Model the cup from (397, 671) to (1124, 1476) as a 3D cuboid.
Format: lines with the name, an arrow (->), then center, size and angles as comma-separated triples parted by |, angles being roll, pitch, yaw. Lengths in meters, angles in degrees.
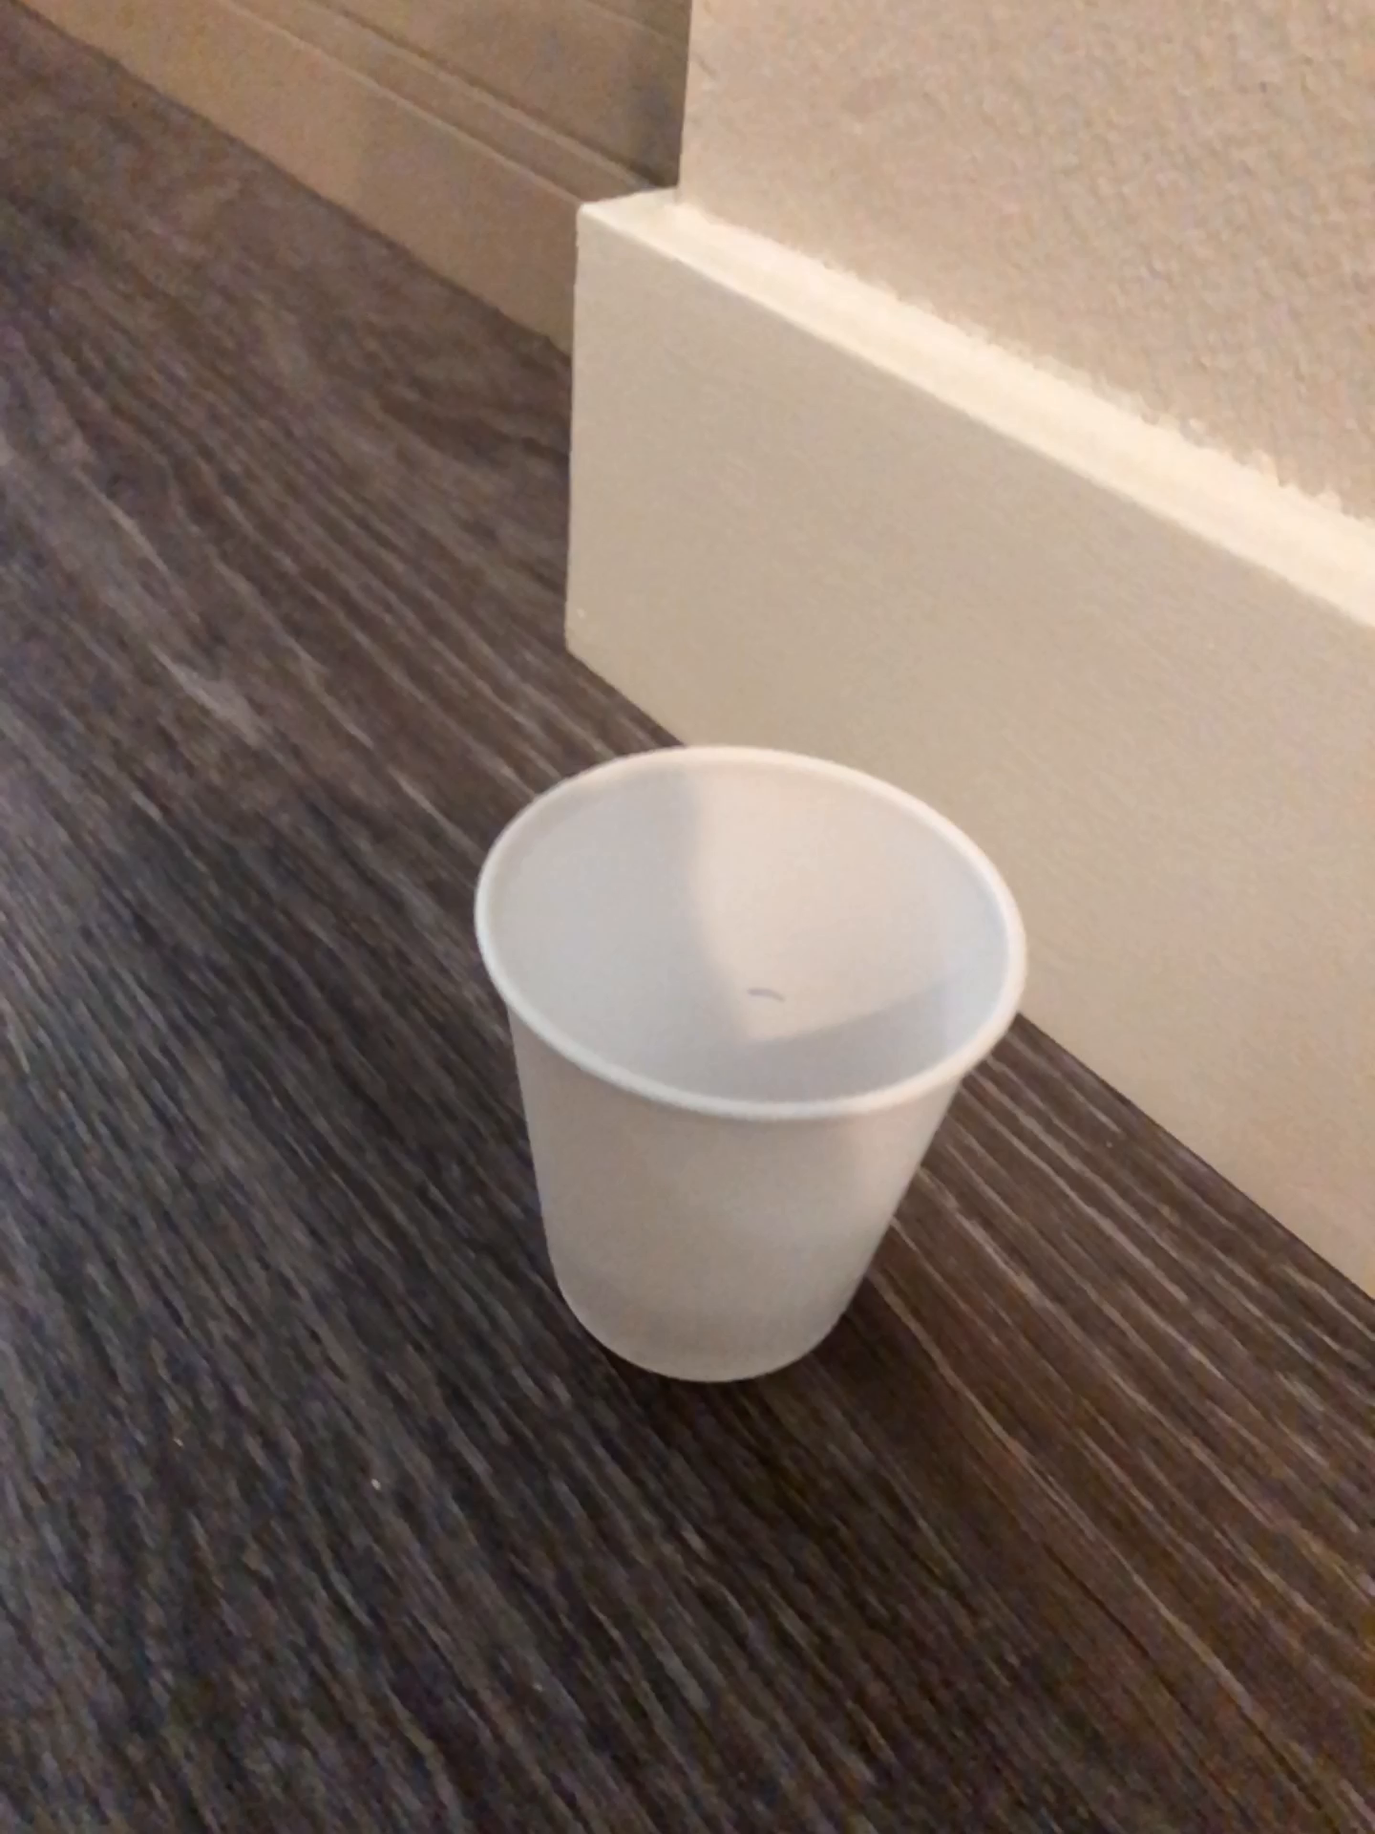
cup -> 0.002, 0.016, 0.180 | 0.060, 0.060, 0.060 | 3, 41, -3
